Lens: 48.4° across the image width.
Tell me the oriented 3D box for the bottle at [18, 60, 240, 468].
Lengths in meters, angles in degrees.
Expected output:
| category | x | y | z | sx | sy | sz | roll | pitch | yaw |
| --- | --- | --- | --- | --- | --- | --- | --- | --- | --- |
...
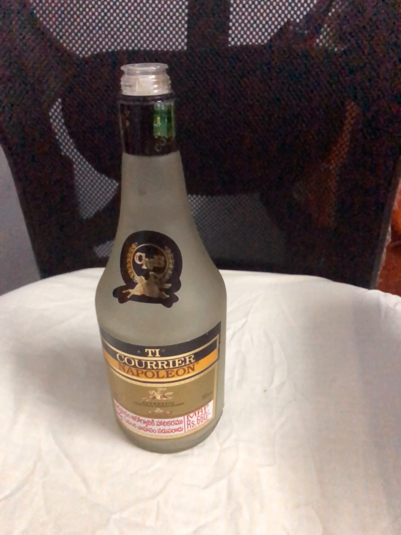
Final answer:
| category | x | y | z | sx | sy | sz | roll | pitch | yaw |
| --- | --- | --- | --- | --- | --- | --- | --- | --- | --- |
| bottle | -0.027 | 0.009 | 0.274 | 0.090 | 0.239 | 0.080 | 3 | 31 | 3 |
